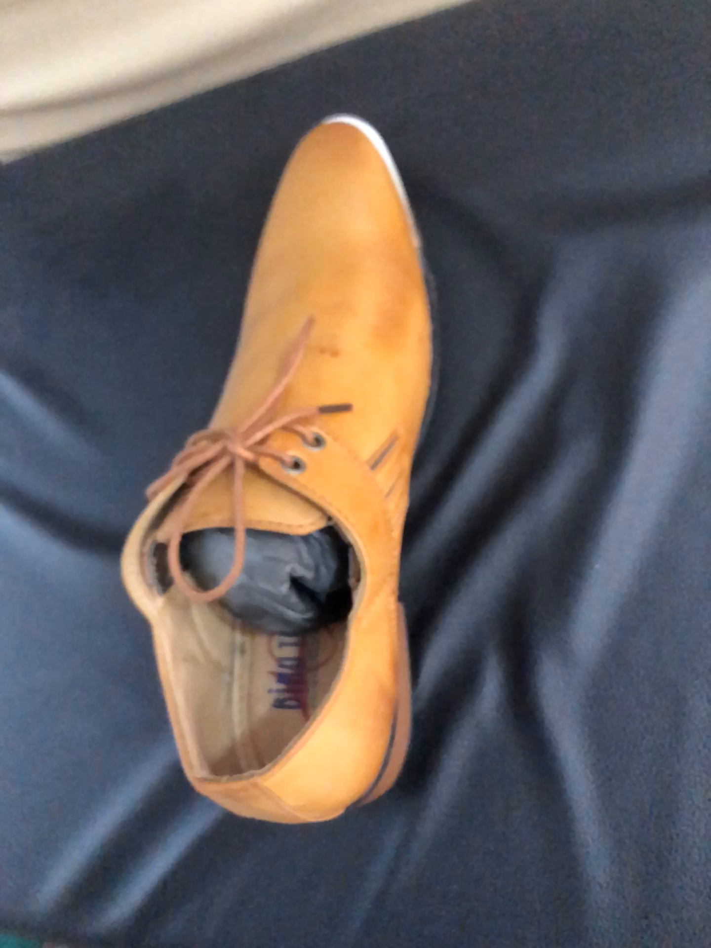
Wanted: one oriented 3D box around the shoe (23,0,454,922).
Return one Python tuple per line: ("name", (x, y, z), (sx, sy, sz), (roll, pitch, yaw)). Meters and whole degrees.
("shoe", (-0.031, -0.019, 0.305), (0.110, 0.100, 0.300), (-3, 79, 24))
